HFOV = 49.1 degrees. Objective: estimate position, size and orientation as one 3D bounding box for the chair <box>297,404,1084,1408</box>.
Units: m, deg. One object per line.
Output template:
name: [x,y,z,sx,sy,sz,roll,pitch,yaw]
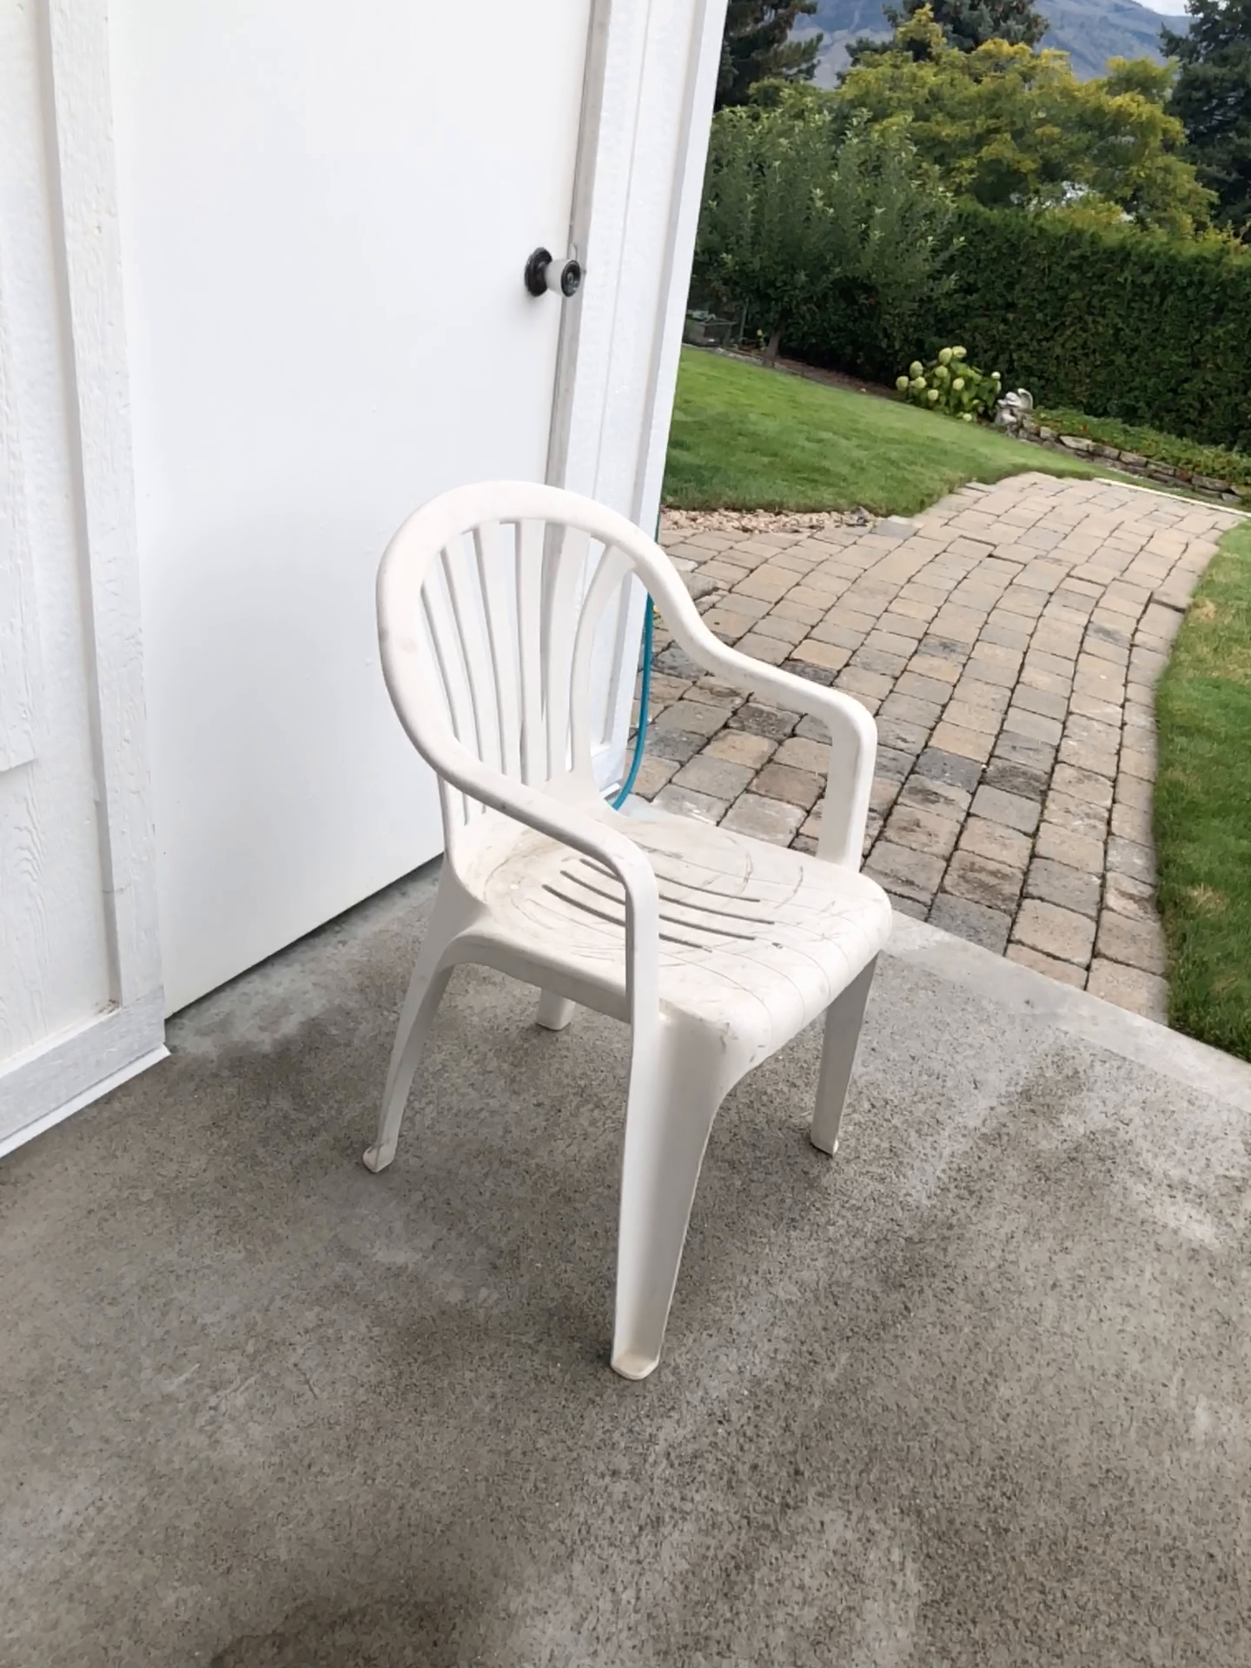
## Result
chair: [0.050,0.025,1.484,0.510,0.777,0.602,23,33,25]
